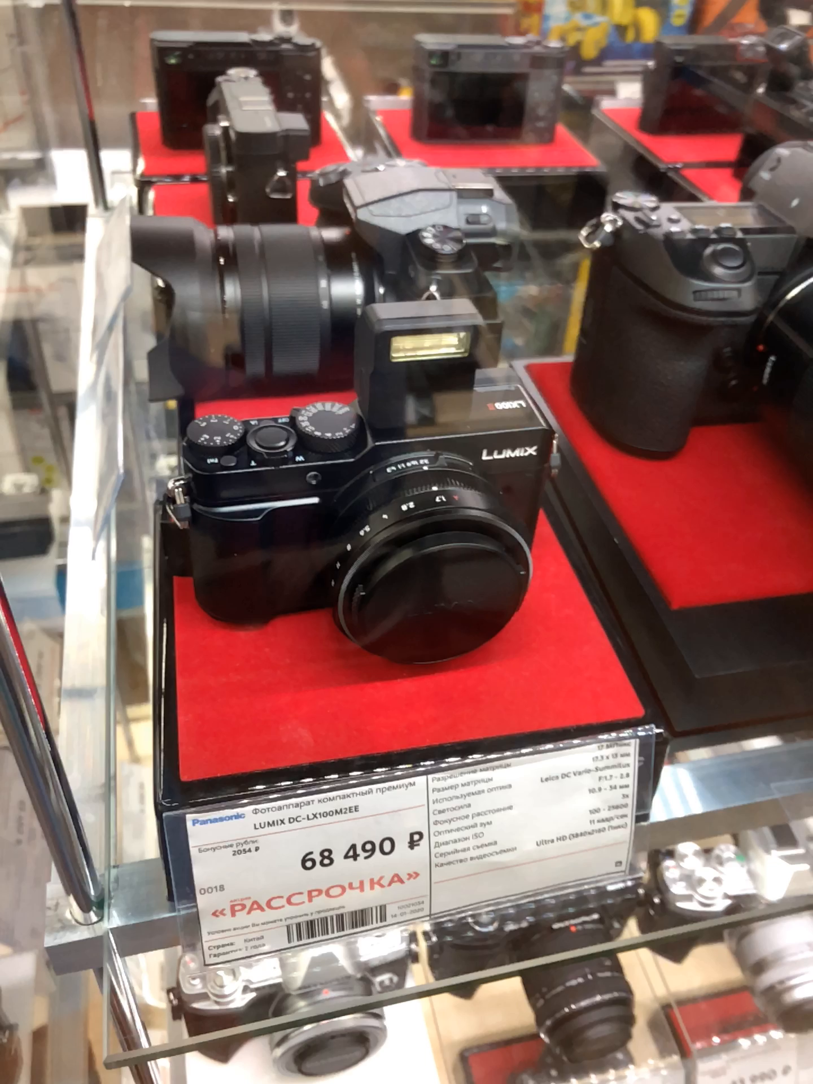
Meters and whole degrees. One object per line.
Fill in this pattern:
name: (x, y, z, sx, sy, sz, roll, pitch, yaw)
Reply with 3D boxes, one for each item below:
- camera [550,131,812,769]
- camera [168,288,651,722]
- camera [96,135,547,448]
camera: (0.185, -0.057, 0.340, 0.175, 0.114, 0.227, -6, 42, -13)
camera: (-0.005, -0.013, 0.275, 0.117, 0.098, 0.070, -6, 42, -13)
camera: (-0.036, -0.104, 0.362, 0.149, 0.081, 0.099, -5, 41, -10)
